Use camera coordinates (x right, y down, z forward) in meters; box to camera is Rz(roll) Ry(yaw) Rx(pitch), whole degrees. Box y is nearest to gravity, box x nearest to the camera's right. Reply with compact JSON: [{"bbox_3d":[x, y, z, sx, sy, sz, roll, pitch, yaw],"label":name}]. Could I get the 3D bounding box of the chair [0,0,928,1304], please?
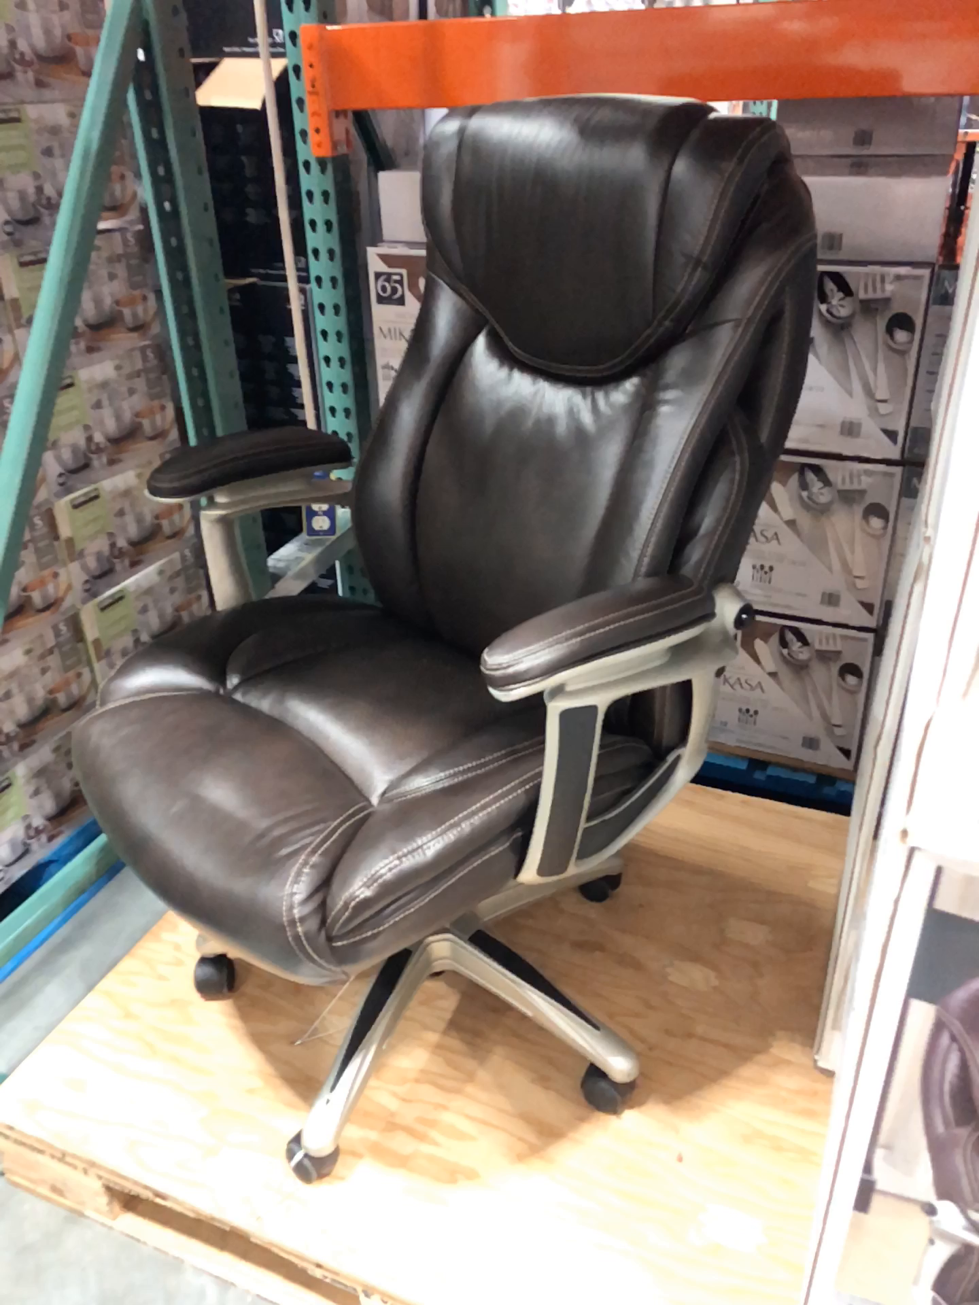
[{"bbox_3d":[-0.072,-0.070,1.200,0.662,1.095,0.721,22,37,37],"label":"chair"}]
